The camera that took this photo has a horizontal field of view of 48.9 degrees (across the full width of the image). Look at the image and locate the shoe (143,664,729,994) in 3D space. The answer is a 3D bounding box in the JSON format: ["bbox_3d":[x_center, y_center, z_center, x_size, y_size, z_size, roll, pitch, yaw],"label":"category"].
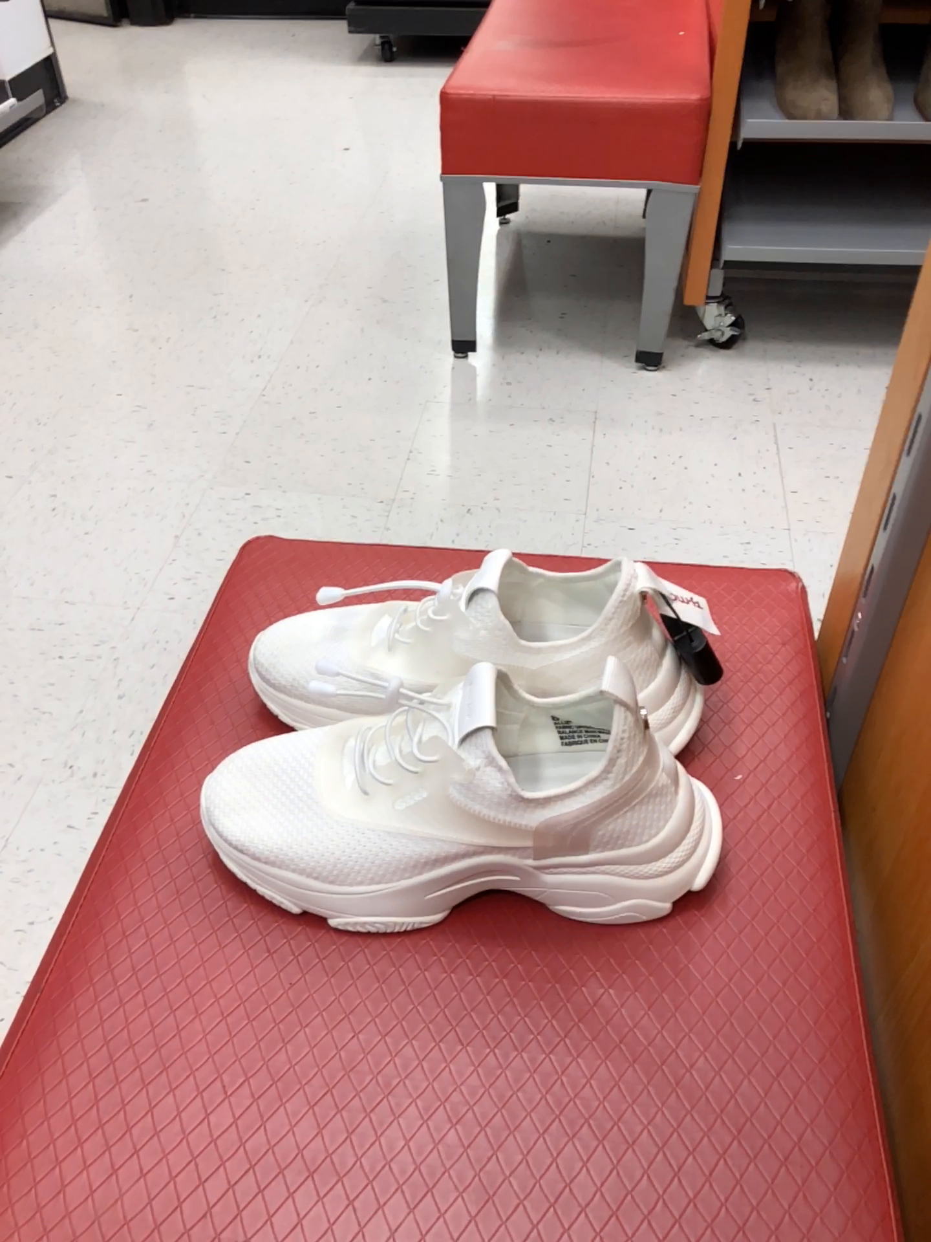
[{"bbox_3d":[-0.010,0.110,0.556,0.277,0.110,0.110,4,42,6],"label":"shoe"}]

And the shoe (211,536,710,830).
[{"bbox_3d":[0.003,0.035,0.639,0.278,0.110,0.113,5,42,8],"label":"shoe"}]
